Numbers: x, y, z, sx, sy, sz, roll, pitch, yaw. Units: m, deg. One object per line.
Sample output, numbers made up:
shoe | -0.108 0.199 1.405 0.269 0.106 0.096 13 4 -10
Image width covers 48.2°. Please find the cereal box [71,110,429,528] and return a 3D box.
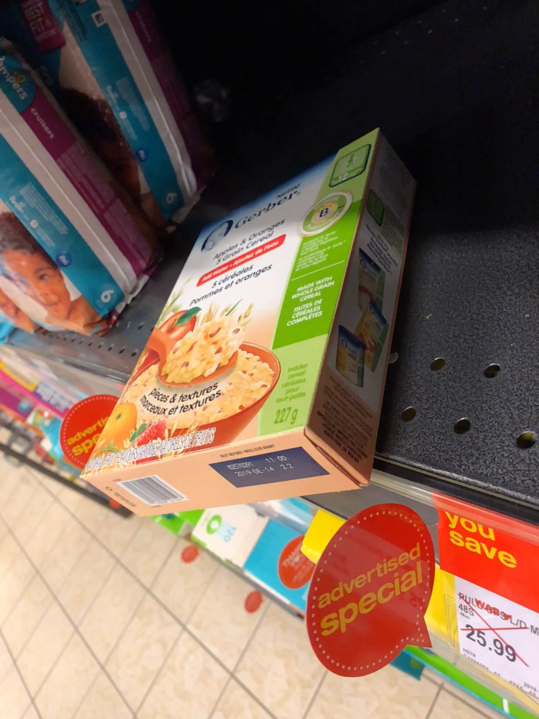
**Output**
cereal box | -0.003 -0.023 0.328 0.151 0.050 0.210 -18 41 39
